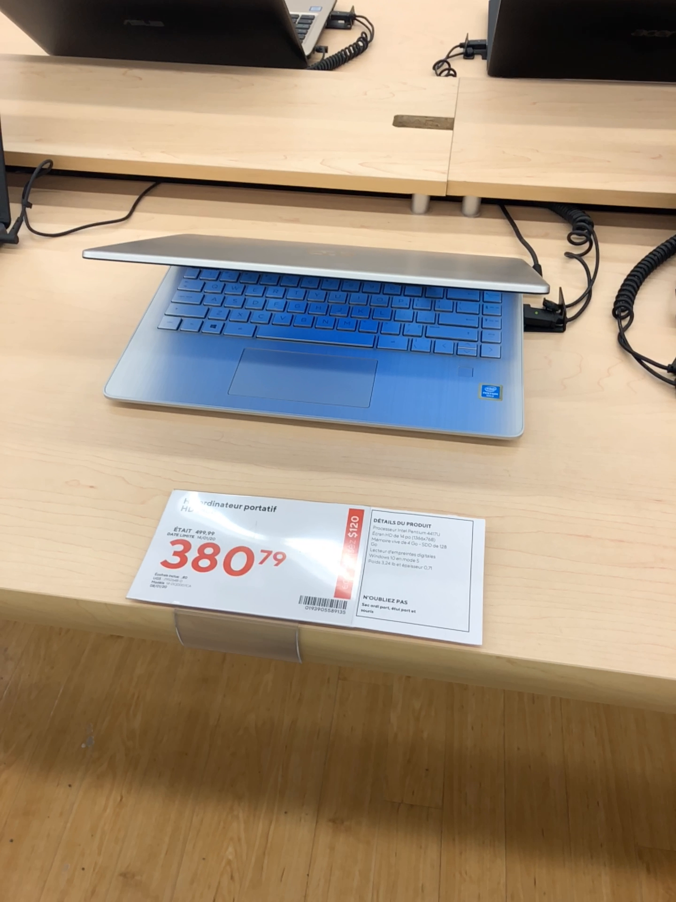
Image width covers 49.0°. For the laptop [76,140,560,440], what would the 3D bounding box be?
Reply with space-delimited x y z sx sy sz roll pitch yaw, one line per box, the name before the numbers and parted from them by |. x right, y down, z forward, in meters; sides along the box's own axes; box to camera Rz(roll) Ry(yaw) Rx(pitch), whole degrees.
laptop | -0.011 -0.141 0.578 0.318 0.104 0.217 6 46 13
